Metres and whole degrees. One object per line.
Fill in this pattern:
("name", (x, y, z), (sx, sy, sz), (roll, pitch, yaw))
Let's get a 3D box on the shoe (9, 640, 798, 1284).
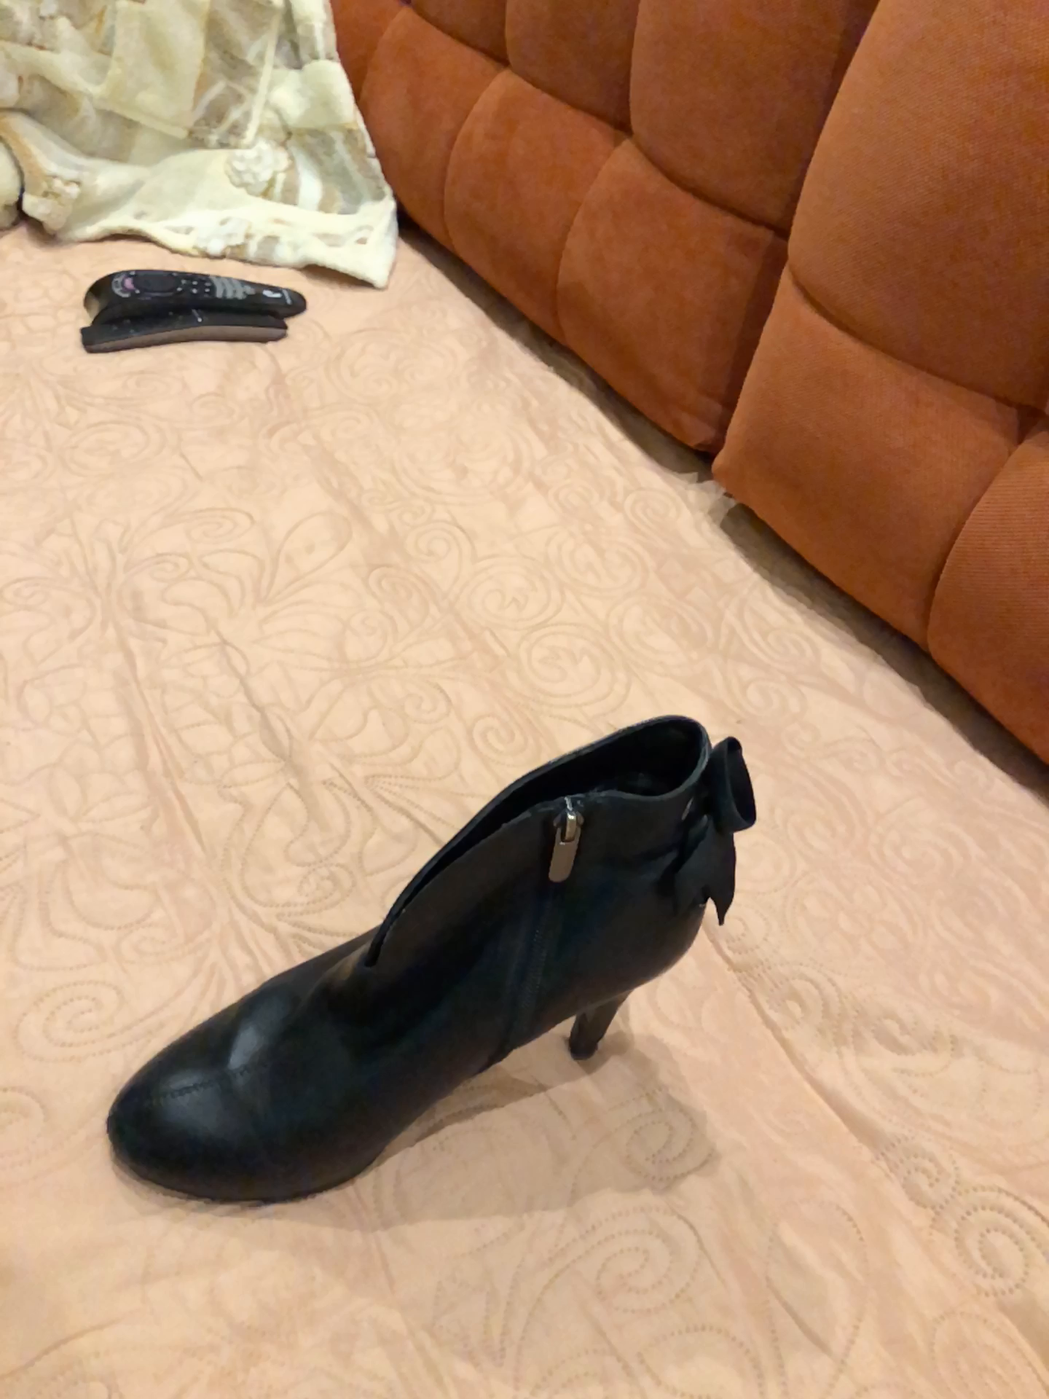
("shoe", (-0.044, 0.090, 0.403), (0.220, 0.169, 0.096), (-9, 44, -17))
